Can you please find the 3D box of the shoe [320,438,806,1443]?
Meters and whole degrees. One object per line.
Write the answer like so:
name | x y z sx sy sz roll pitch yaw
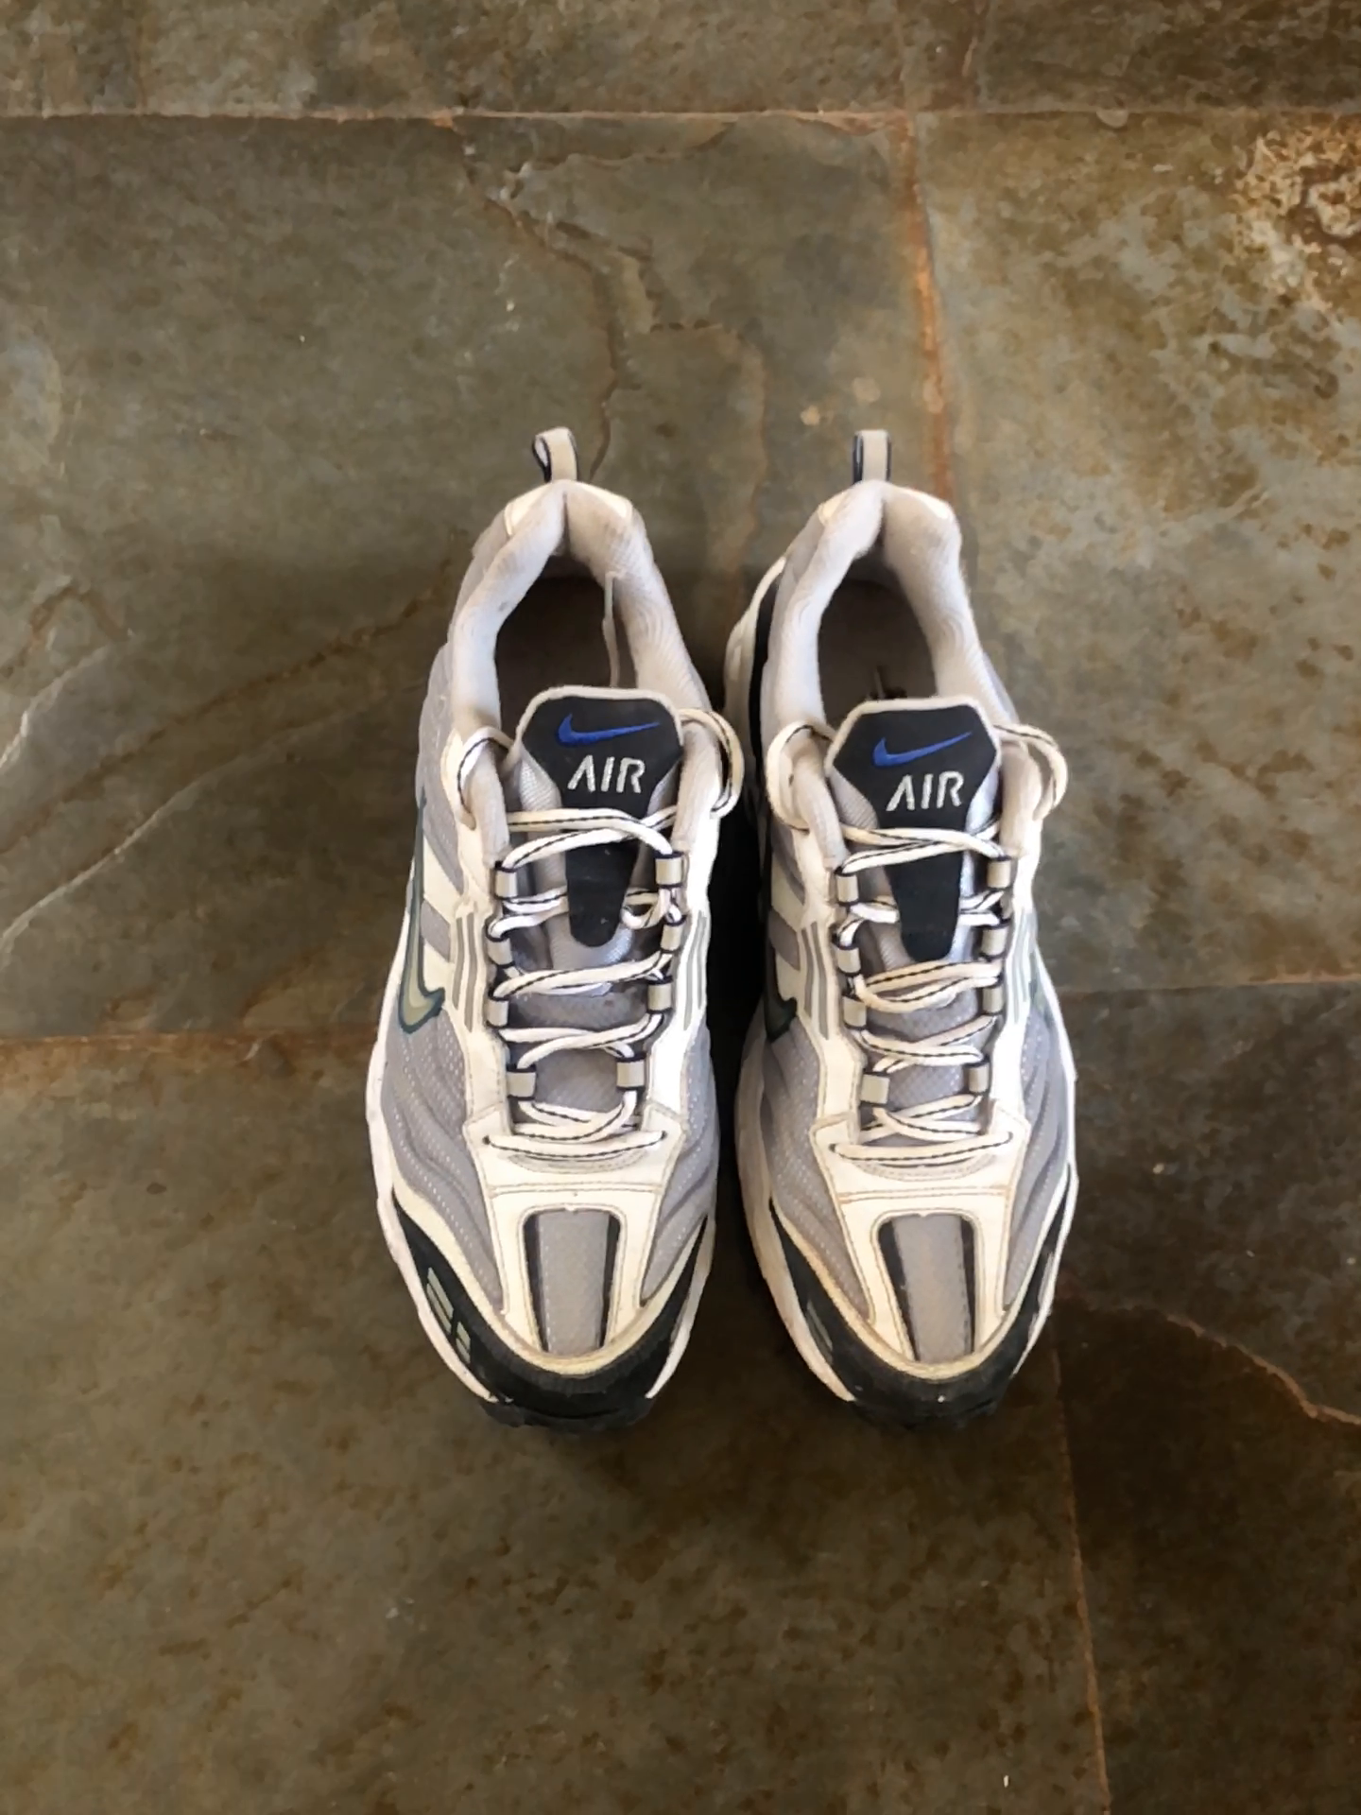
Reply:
shoe | -0.037 0.012 0.439 0.110 0.120 0.261 -3 72 -4

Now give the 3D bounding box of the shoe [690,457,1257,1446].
shoe | 0.069 0.014 0.441 0.110 0.110 0.261 -3 72 -4
